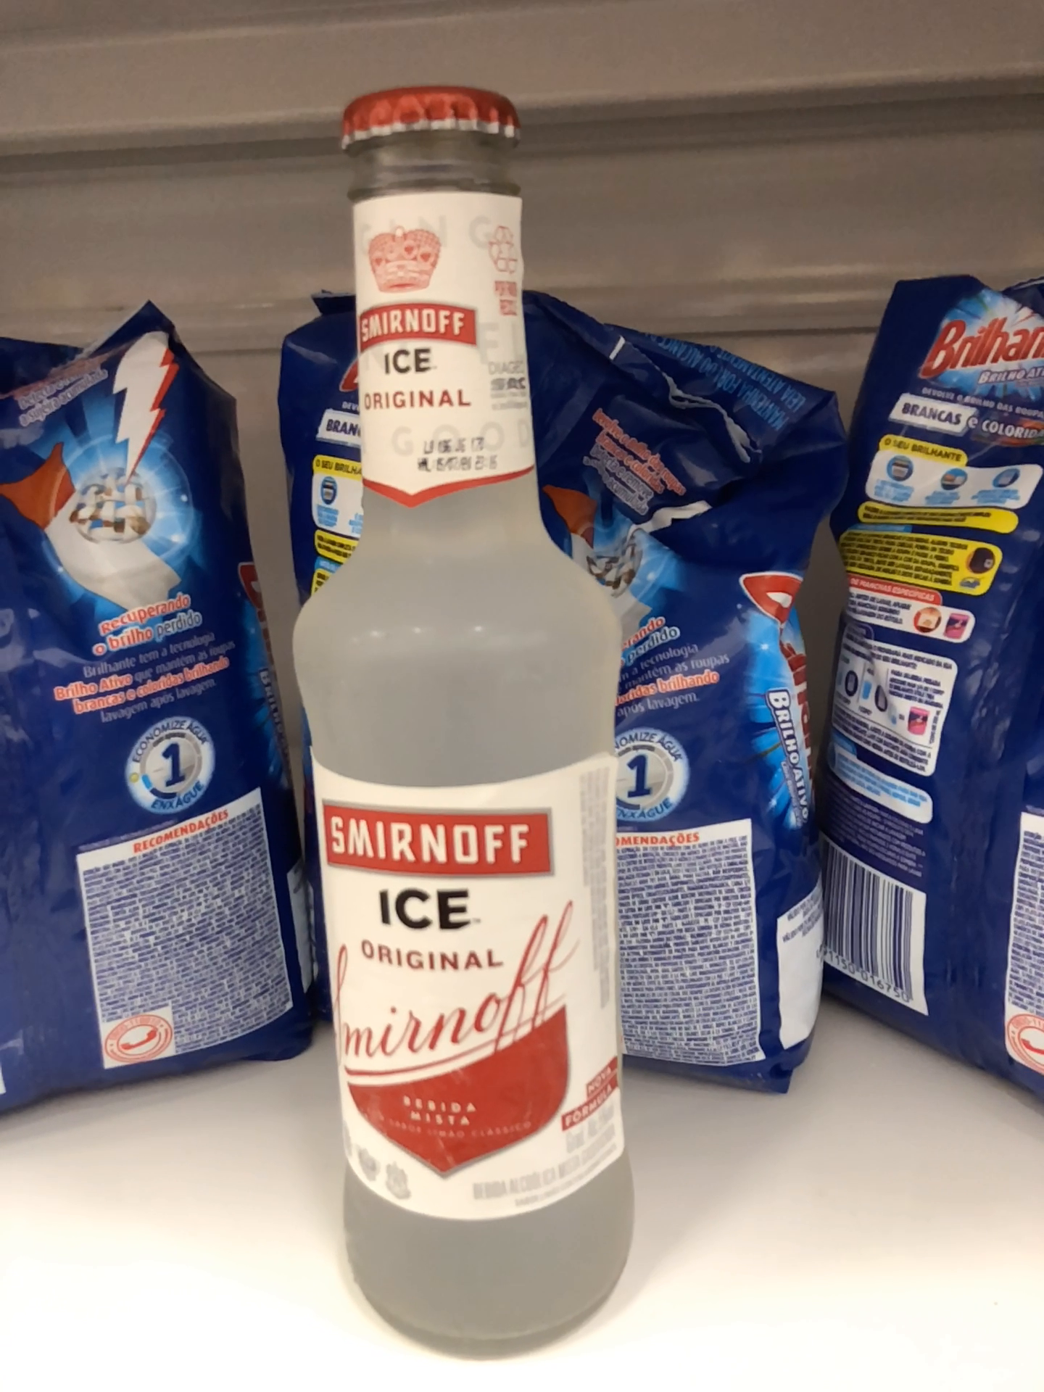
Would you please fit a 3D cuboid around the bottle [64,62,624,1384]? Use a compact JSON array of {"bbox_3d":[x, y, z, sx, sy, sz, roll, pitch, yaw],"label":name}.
[{"bbox_3d":[-0.022,0.010,0.213,0.070,0.209,0.060,1,14,13],"label":"bottle"}]
